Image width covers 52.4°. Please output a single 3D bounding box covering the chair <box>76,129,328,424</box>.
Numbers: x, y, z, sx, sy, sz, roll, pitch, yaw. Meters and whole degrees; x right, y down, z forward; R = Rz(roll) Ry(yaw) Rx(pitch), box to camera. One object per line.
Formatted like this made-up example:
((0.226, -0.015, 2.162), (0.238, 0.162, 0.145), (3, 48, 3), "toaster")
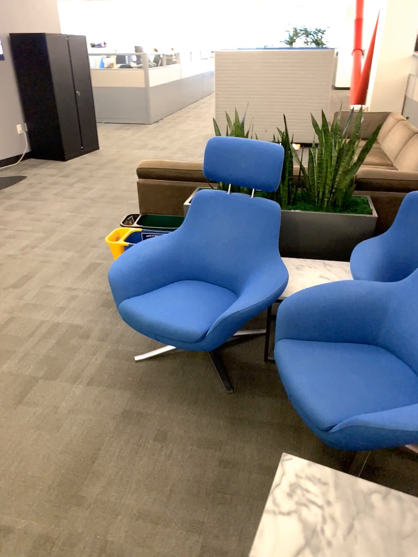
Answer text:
((-0.024, -0.080, 2.175), (0.923, 1.143, 0.662), (17, 33, 29), "chair")
